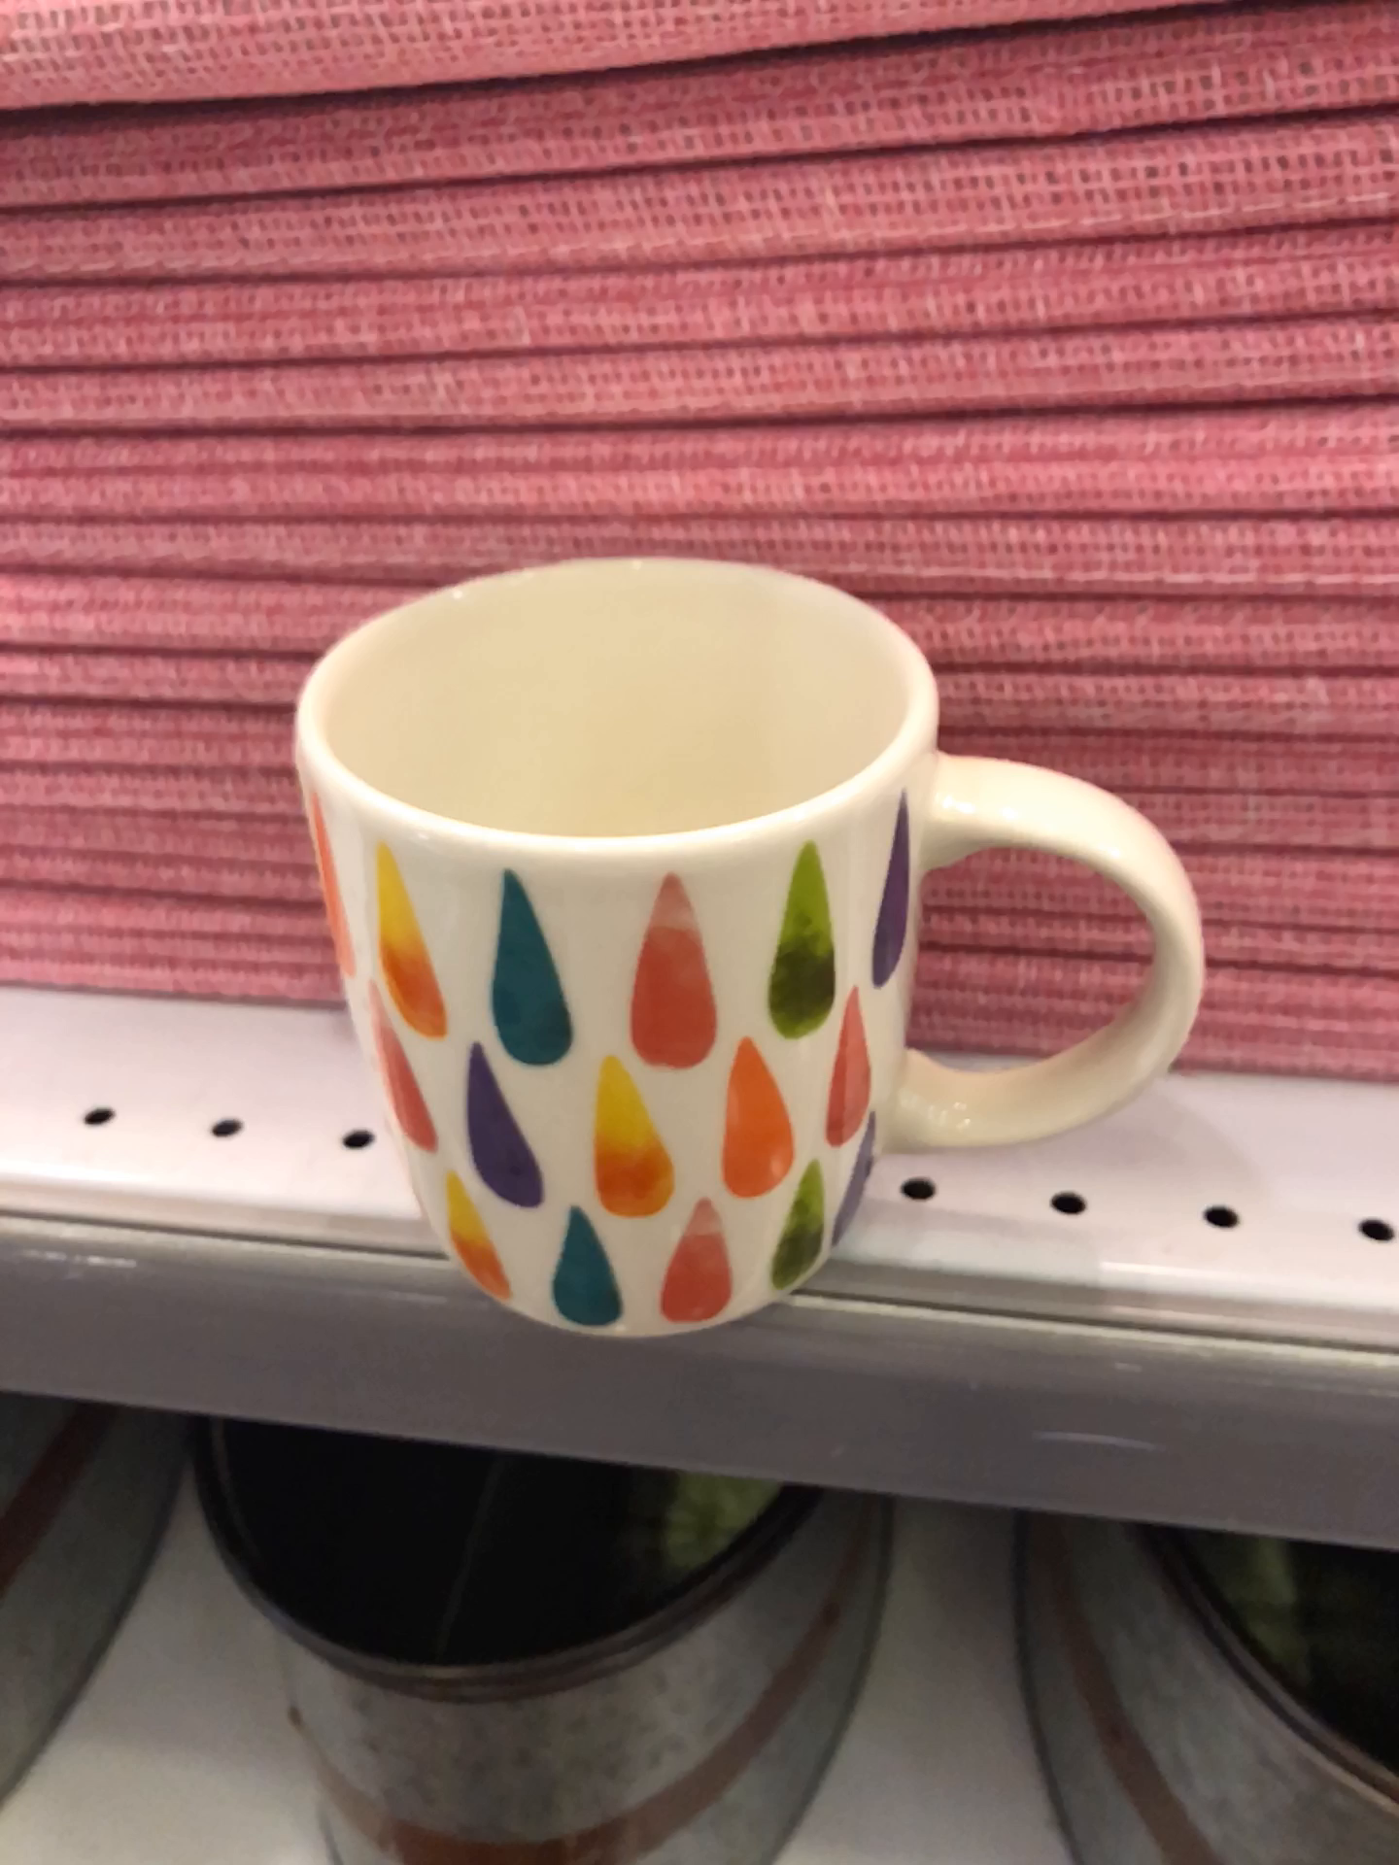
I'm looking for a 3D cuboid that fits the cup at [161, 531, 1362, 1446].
[{"bbox_3d":[0.011,0.002,0.232,0.130,0.089,0.091,4,35,7],"label":"cup"}]
